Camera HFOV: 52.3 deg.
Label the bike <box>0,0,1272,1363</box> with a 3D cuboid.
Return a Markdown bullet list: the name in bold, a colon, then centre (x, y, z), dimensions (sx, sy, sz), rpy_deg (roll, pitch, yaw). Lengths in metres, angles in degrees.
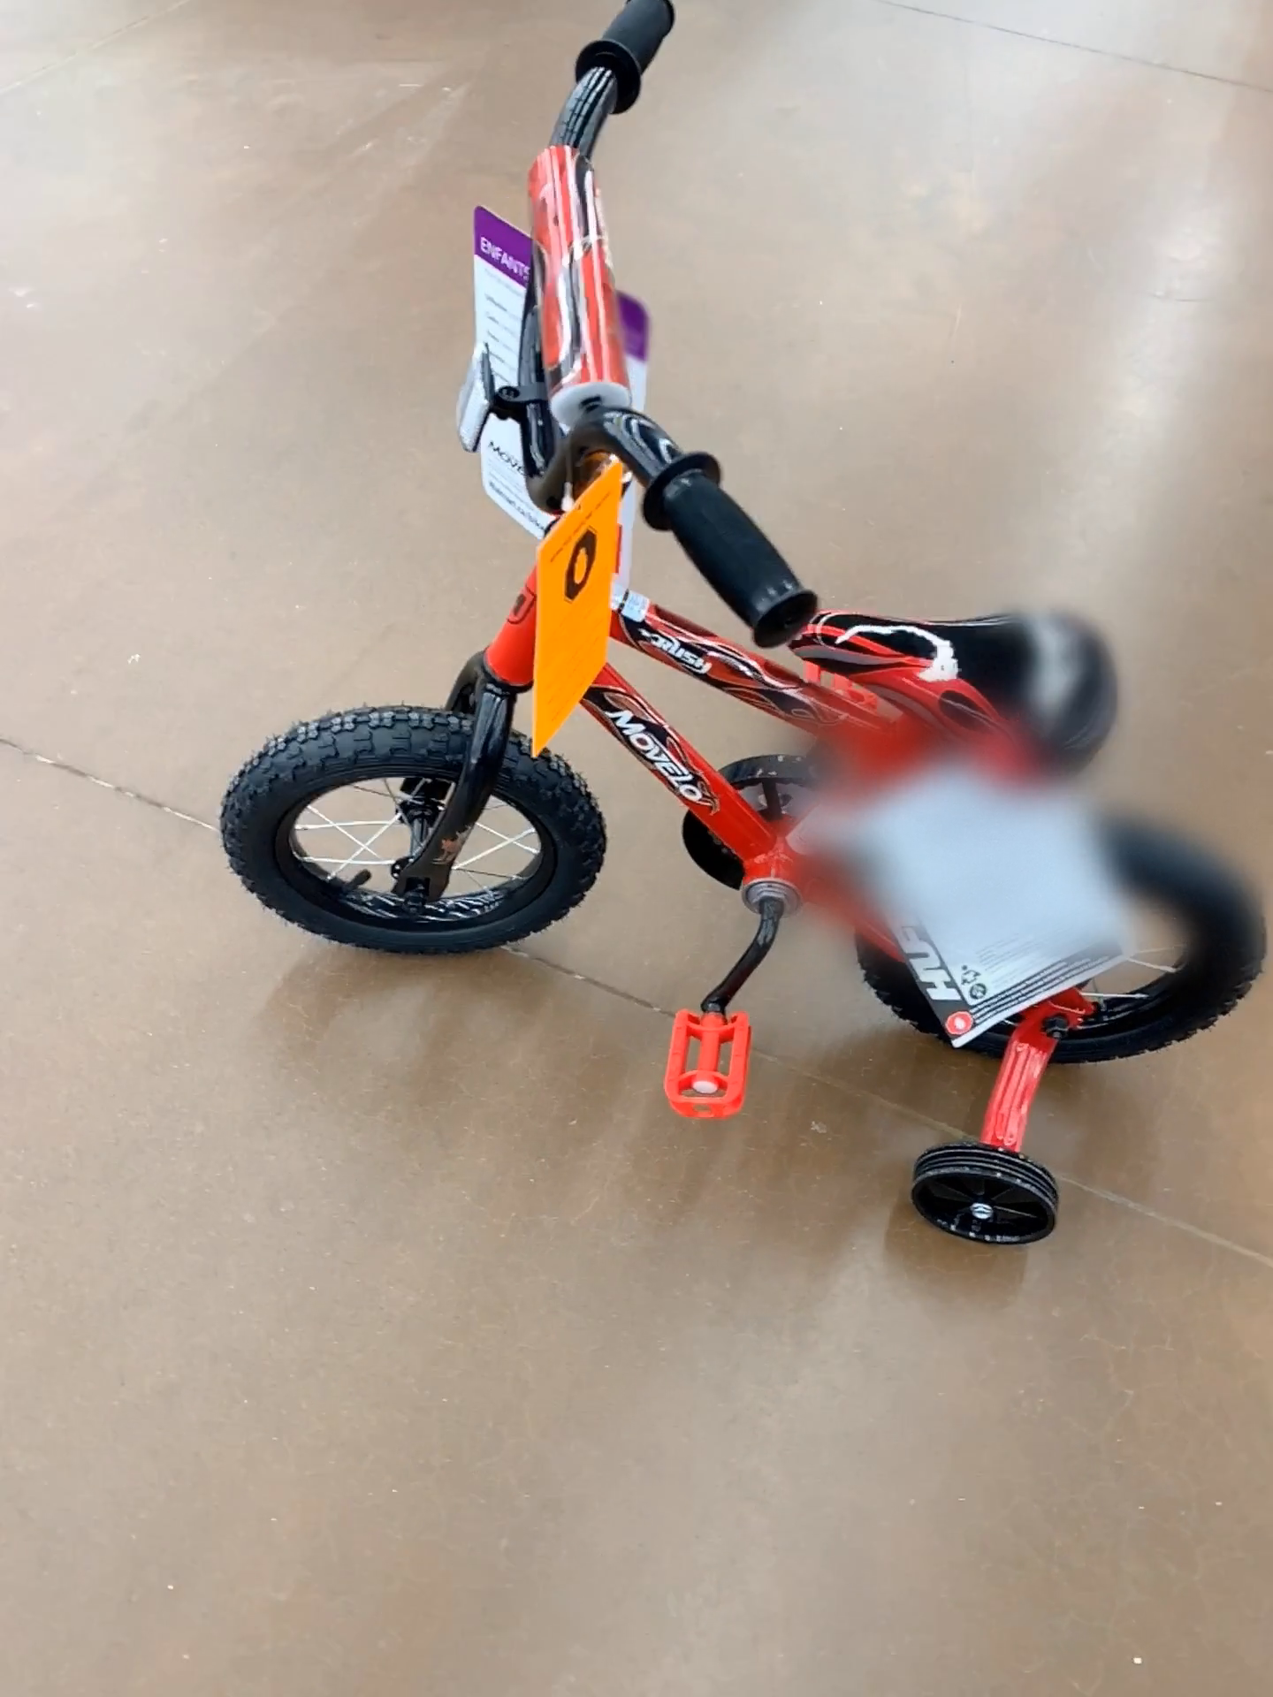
- **bike**: centre (0.078, -0.094, 0.743), dimensions (0.735, 0.604, 0.441), rpy_deg (10, 50, 0)
